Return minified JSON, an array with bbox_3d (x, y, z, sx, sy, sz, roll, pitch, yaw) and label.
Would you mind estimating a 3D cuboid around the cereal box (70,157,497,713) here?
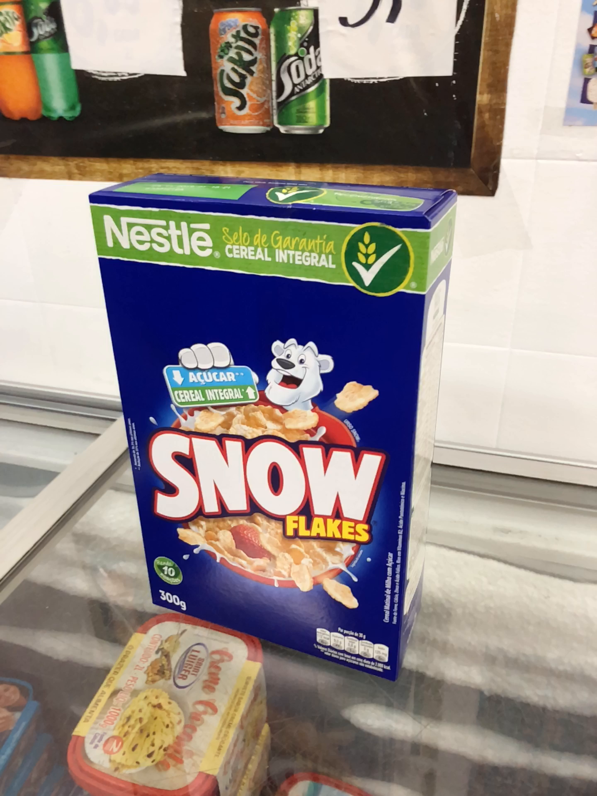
[{"bbox_3d":[-0.005,0.020,0.345,0.170,0.258,0.070,11,31,22],"label":"cereal box"}]
